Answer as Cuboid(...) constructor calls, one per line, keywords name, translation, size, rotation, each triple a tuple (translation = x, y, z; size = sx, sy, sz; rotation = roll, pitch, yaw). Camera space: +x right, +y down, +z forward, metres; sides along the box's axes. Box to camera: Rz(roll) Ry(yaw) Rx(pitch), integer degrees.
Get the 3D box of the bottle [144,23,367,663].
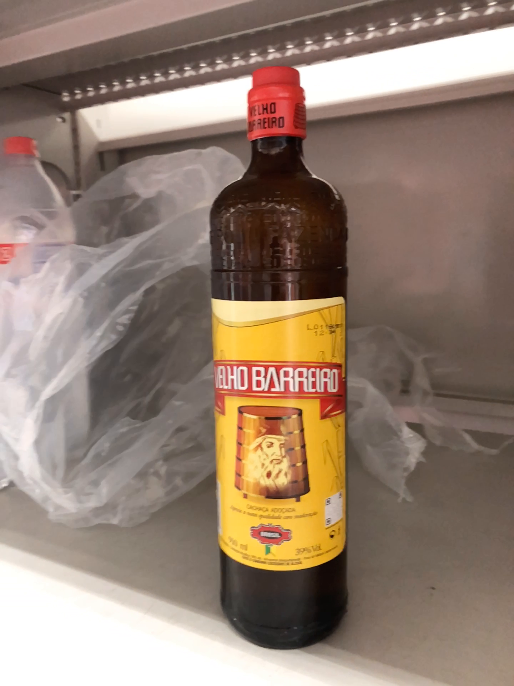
Cuboid(name="bottle", translation=(0.009, 0.006, 0.312), size=(0.090, 0.299, 0.080), rotation=(-1, 9, 14))
